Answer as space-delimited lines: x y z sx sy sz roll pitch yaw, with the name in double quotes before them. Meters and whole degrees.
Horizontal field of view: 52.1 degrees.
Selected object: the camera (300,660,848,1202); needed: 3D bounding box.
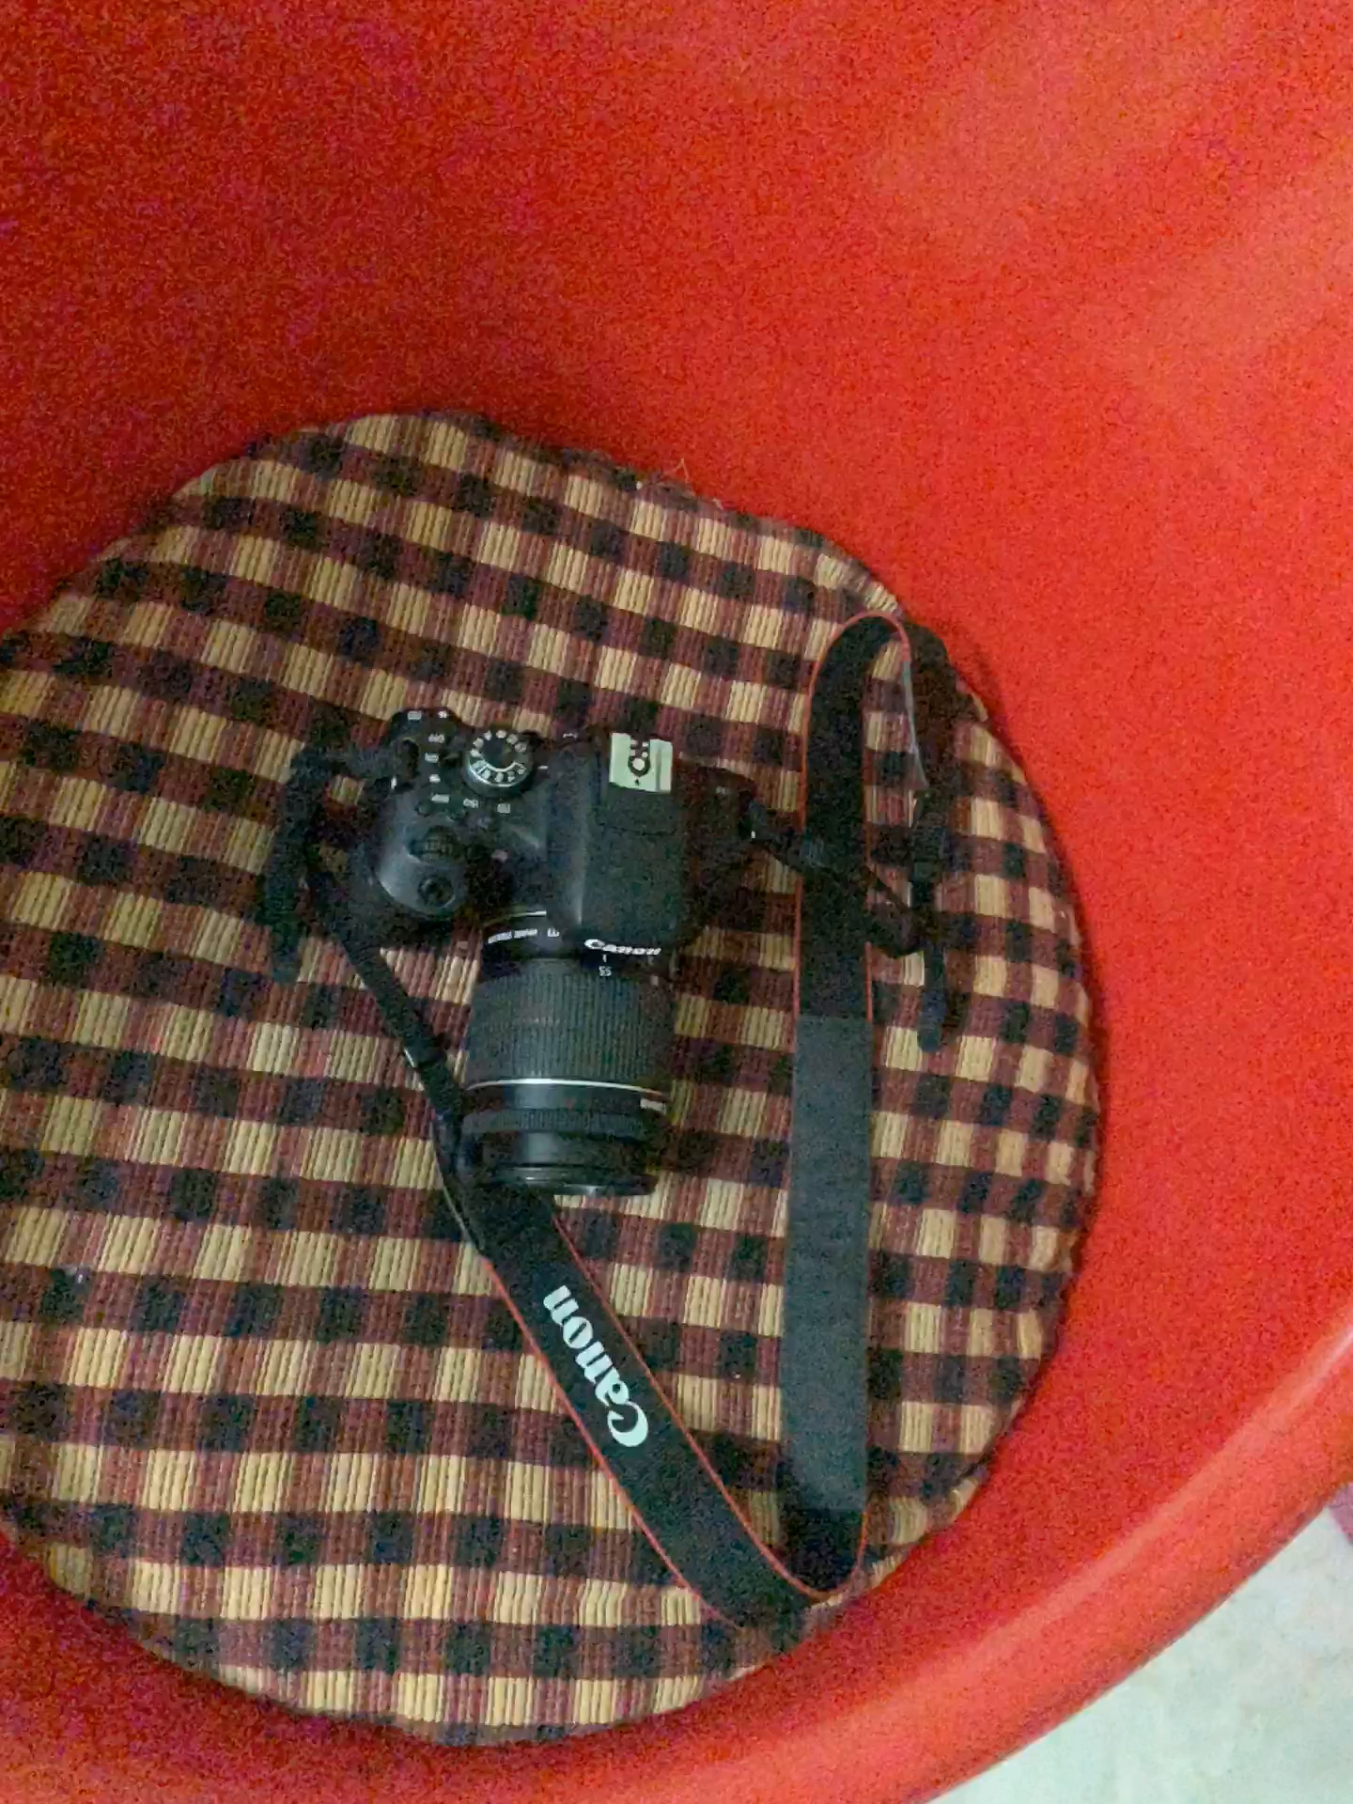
"camera" -0.039 0.021 0.458 0.140 0.130 0.138 9 76 -16
